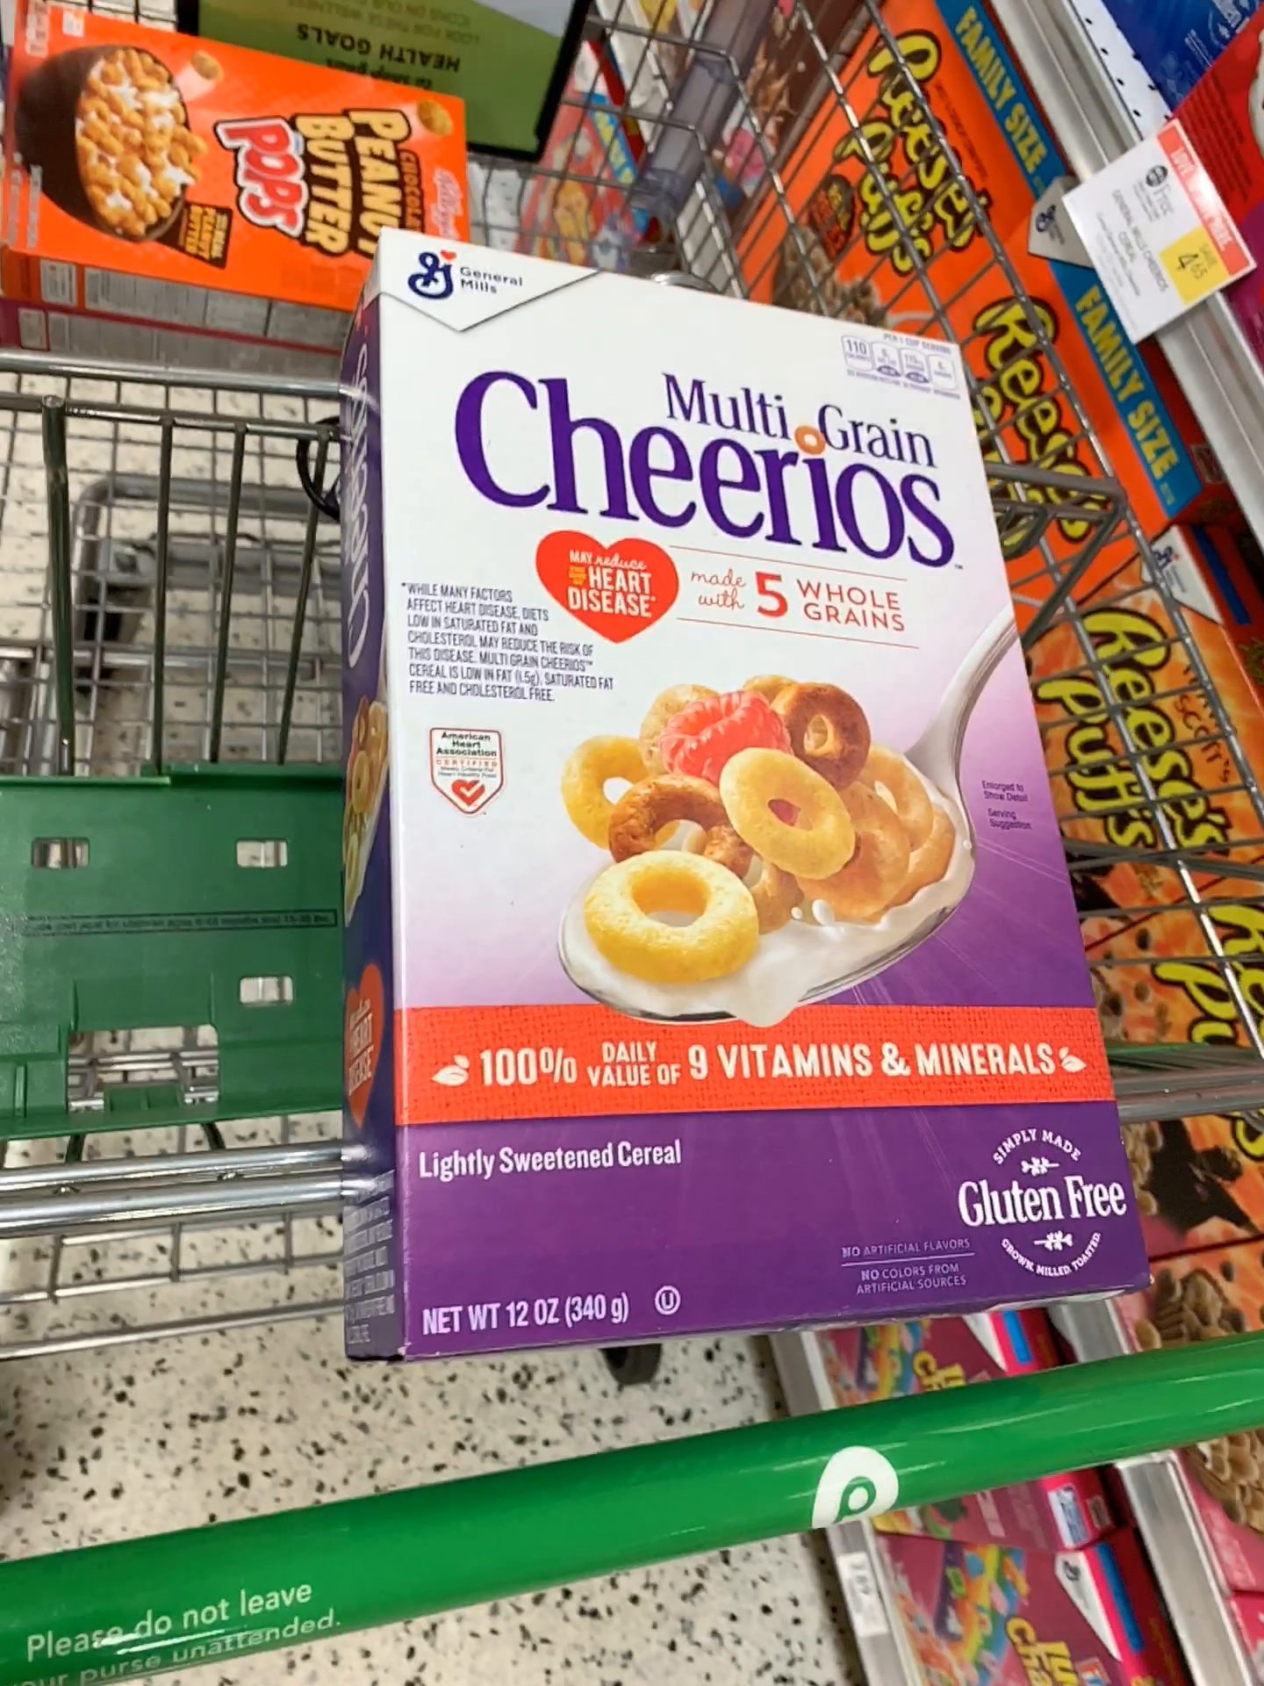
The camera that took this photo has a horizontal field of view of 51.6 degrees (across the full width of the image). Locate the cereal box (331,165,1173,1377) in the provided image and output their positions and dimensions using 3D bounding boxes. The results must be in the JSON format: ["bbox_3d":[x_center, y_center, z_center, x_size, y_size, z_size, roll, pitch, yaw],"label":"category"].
[{"bbox_3d":[0.020,-0.027,0.385,0.201,0.070,0.321,3,68,-22],"label":"cereal box"}]
